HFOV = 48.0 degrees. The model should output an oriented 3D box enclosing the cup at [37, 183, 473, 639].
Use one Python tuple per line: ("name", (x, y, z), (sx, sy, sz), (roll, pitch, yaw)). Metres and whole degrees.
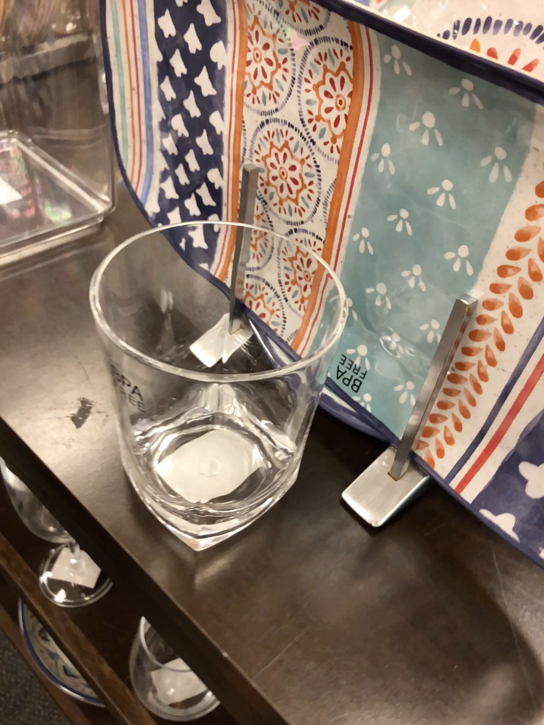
("cup", (-0.011, 0.014, 0.257), (0.108, 0.111, 0.114), (5, 44, -4))
